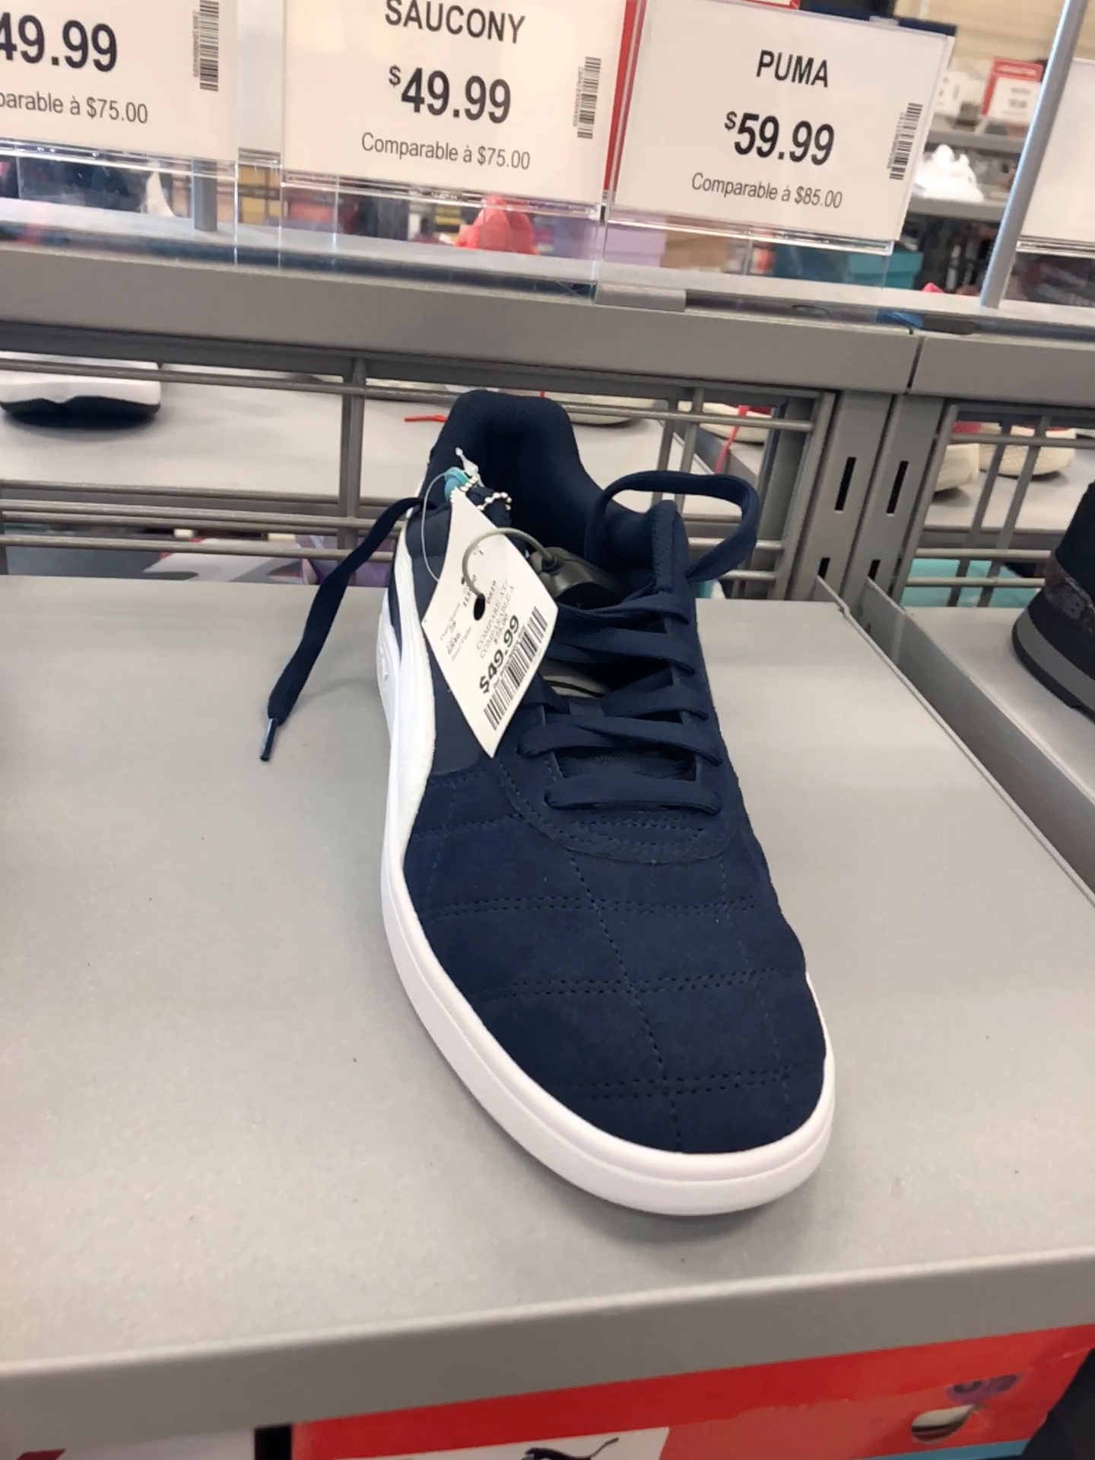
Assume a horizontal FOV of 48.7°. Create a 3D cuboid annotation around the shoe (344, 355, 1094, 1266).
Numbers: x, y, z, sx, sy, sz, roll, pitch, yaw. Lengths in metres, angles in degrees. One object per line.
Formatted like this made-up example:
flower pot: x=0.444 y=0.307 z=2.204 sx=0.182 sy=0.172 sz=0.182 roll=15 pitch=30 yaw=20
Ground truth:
shoe: x=0.017 y=-0.007 z=0.328 sx=0.119 sy=0.119 sz=0.242 roll=0 pitch=31 yaw=-15
